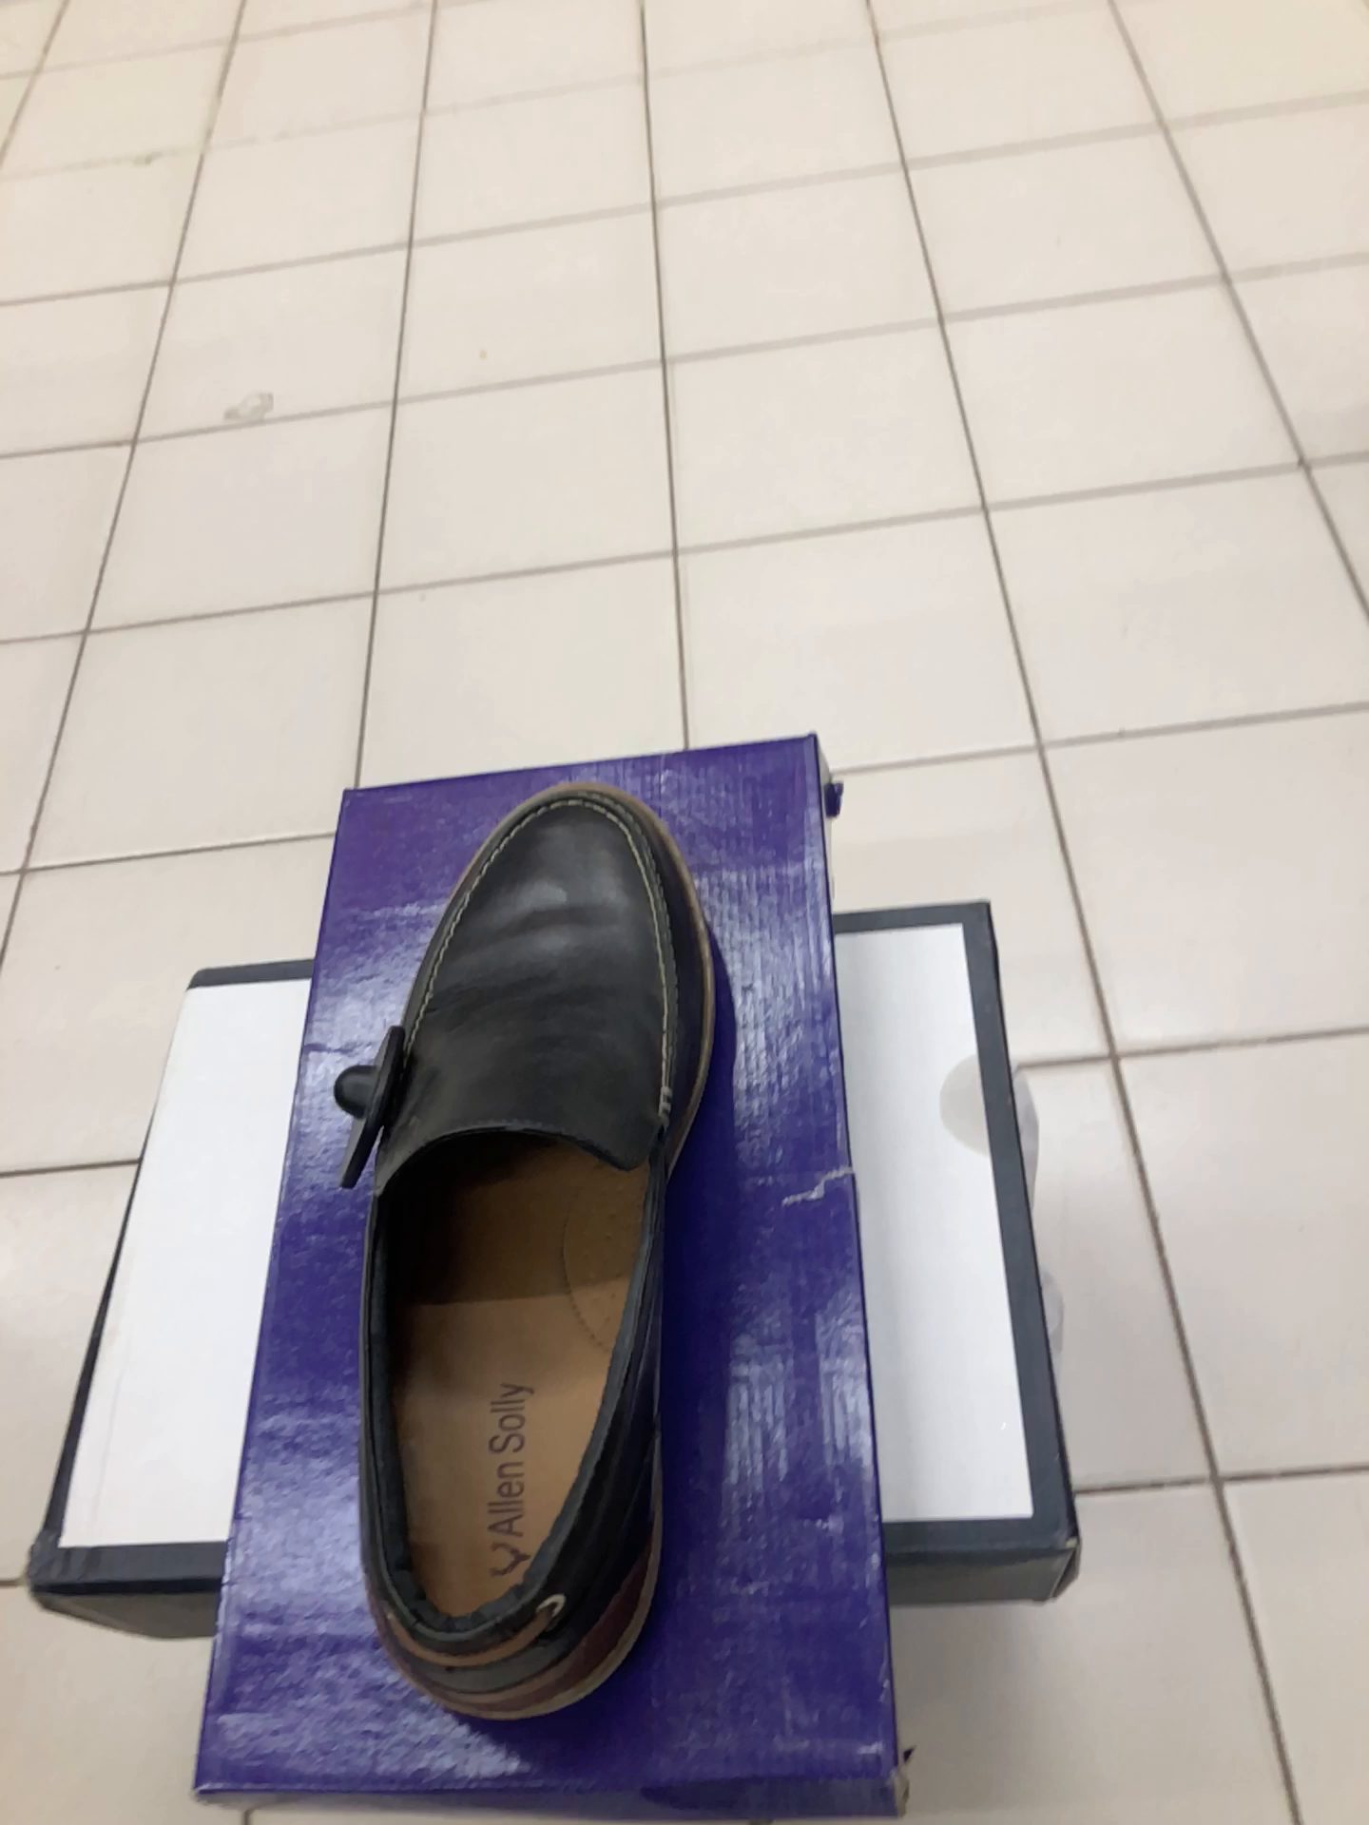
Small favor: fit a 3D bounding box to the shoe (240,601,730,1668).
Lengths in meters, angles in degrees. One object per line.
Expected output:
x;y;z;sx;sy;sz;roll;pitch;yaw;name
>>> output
-0.046;0.056;0.465;0.100;0.110;0.301;-5;55;5;shoe
